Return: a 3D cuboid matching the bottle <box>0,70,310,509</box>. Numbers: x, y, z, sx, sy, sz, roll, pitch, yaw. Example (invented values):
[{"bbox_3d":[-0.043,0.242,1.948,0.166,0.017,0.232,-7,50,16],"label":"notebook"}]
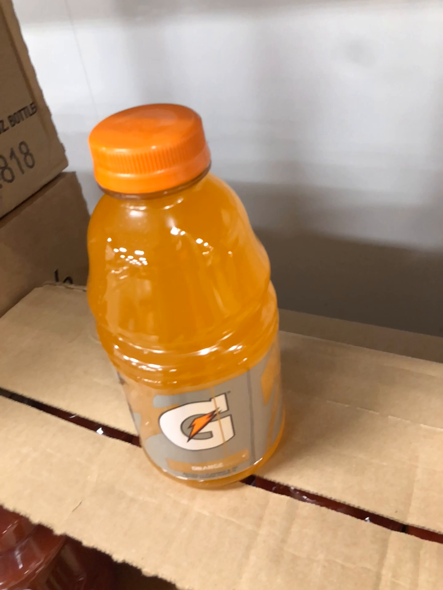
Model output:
[{"bbox_3d":[-0.016,0.004,0.242,0.092,0.180,0.100,-6,37,4],"label":"bottle"}]
